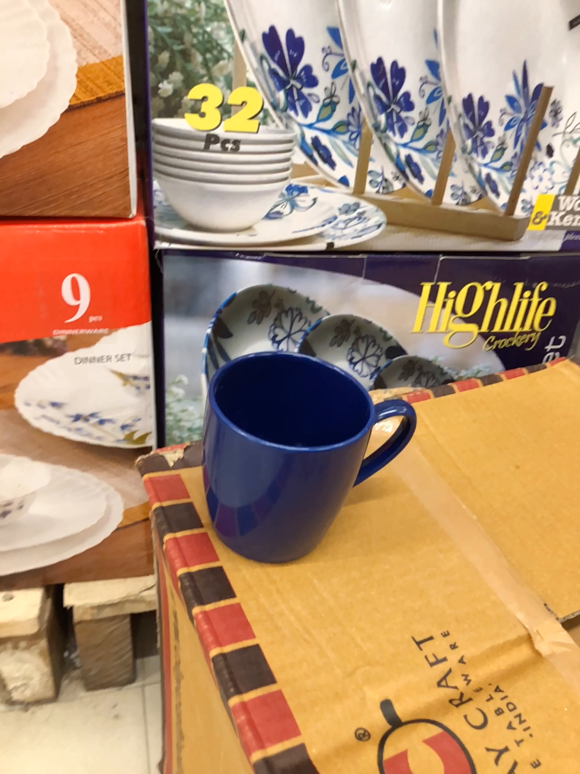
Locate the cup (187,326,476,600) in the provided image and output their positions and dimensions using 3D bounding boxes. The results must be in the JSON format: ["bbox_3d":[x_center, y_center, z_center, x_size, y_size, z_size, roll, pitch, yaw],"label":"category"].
[{"bbox_3d":[0.011,0.029,0.287,0.100,0.079,0.070,-7,36,-20],"label":"cup"}]
